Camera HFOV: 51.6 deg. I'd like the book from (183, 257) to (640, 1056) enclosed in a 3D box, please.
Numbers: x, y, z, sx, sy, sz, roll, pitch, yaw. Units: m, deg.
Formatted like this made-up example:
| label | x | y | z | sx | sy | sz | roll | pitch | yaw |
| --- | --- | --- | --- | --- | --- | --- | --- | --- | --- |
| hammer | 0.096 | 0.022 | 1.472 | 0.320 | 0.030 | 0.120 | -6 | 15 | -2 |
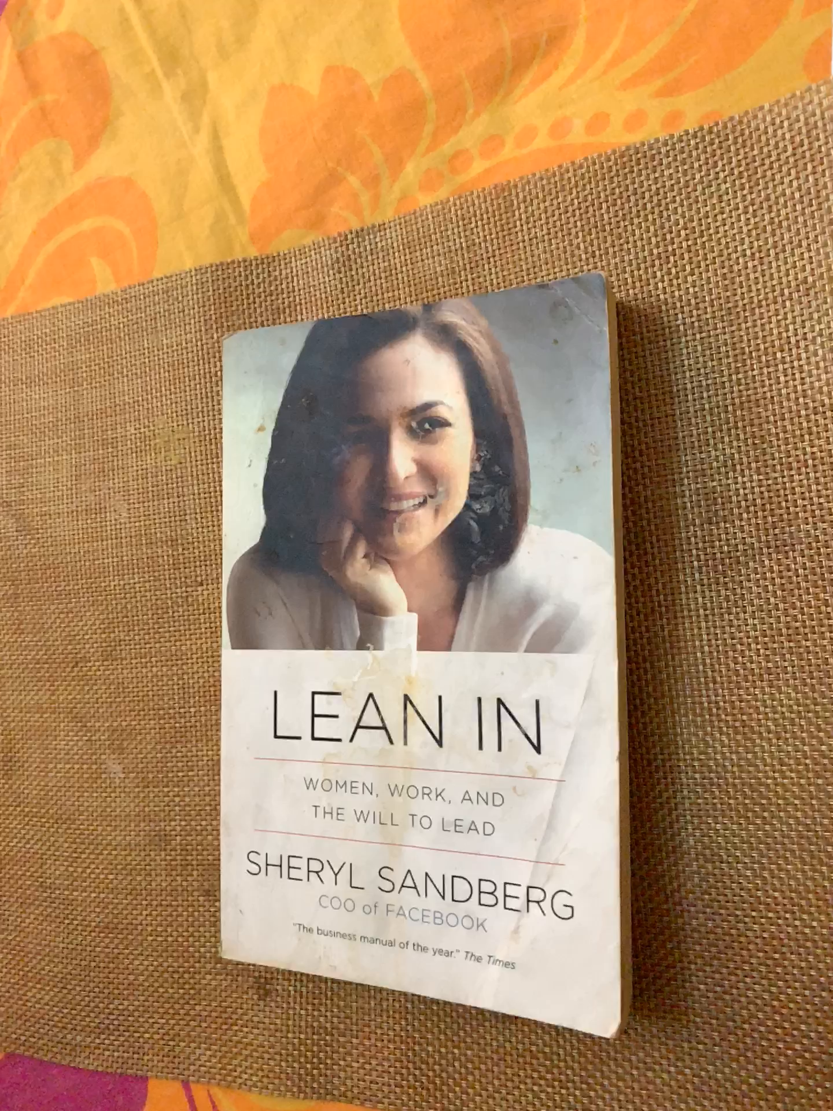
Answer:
| label | x | y | z | sx | sy | sz | roll | pitch | yaw |
| --- | --- | --- | --- | --- | --- | --- | --- | --- | --- |
| book | -0.007 | 0.026 | 0.272 | 0.141 | 0.026 | 0.212 | -3 | 84 | 25 |
